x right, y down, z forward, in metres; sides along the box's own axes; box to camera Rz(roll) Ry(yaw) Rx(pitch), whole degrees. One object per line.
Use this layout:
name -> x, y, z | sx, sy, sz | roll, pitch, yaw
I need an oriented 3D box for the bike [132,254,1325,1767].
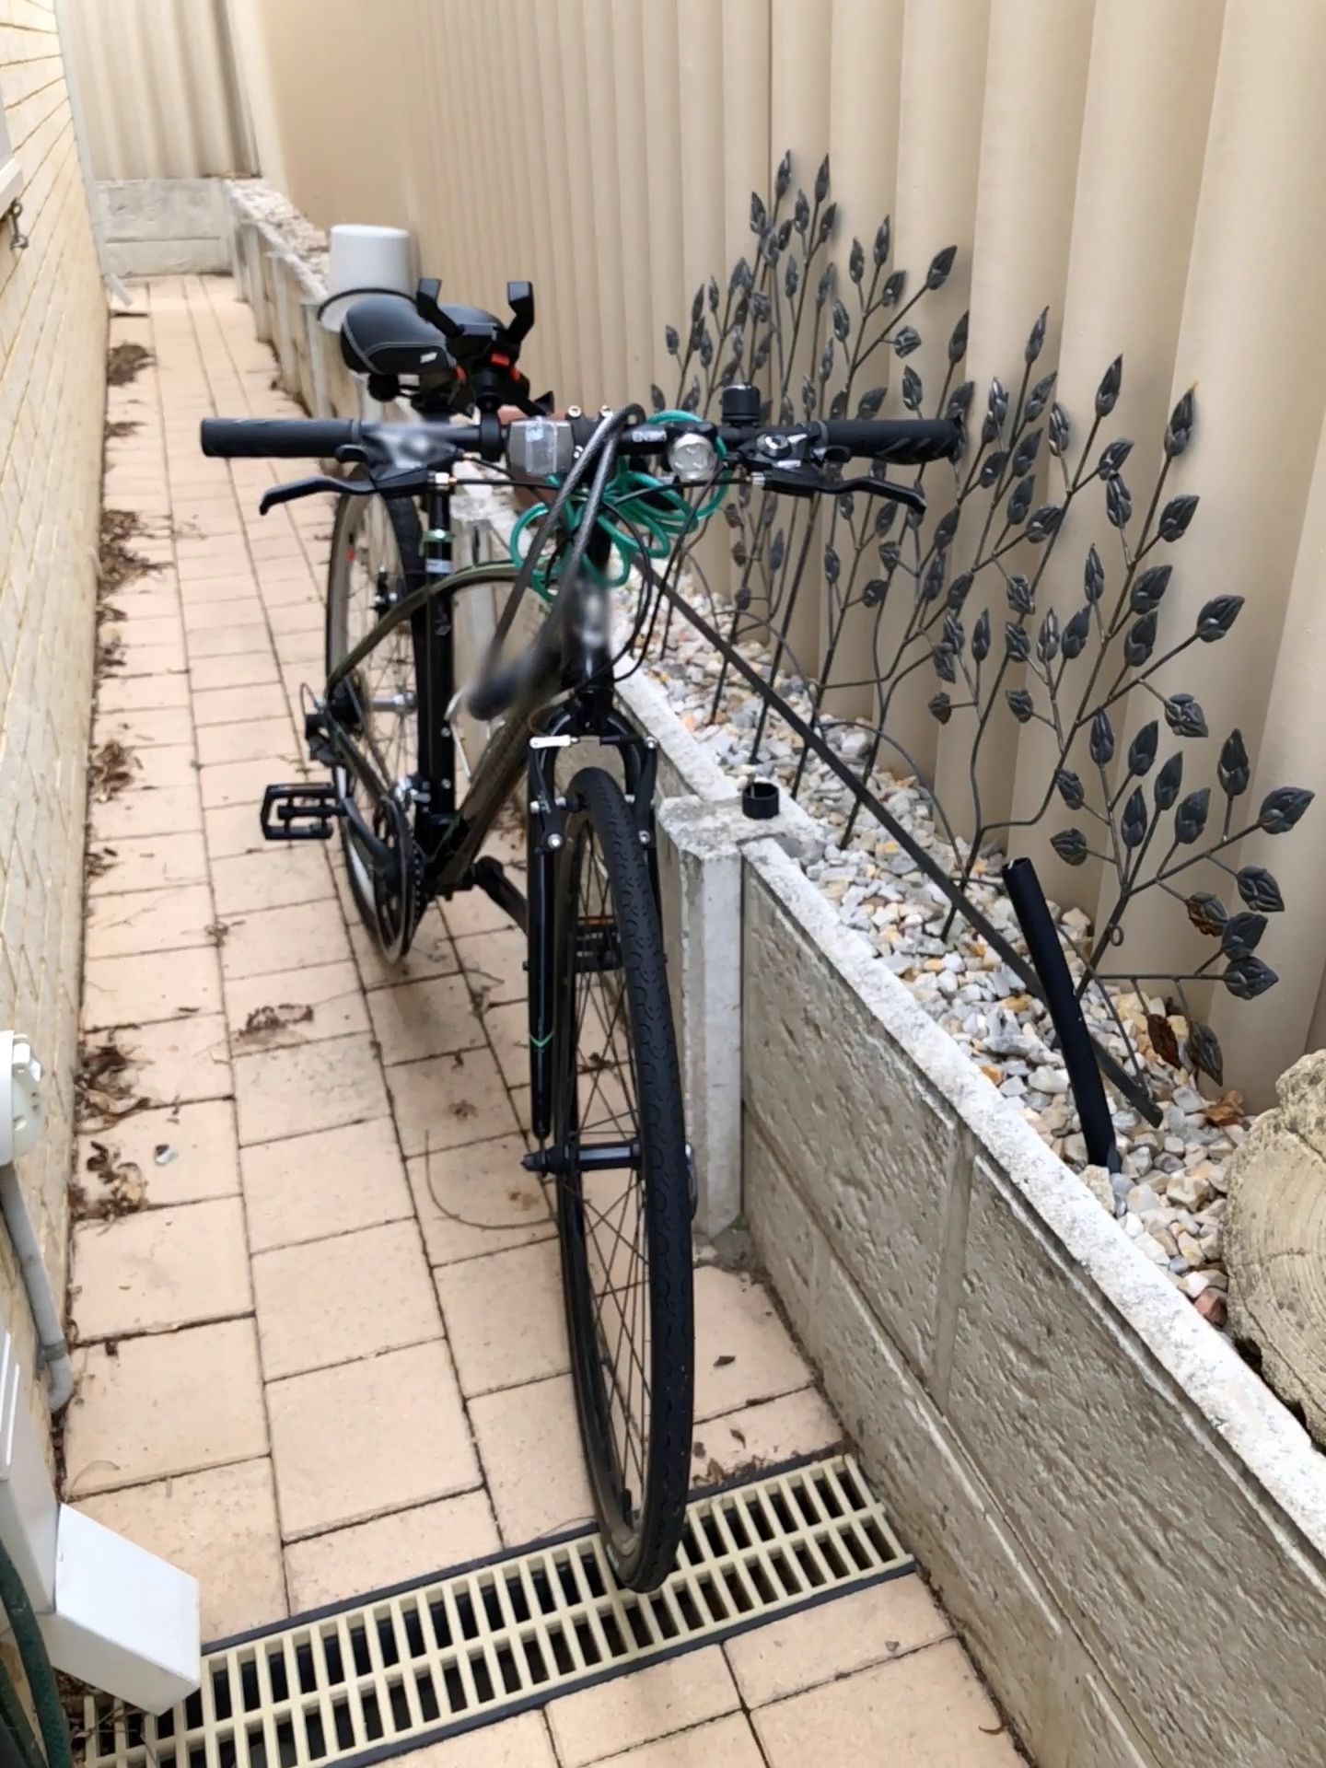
bike -> -0.173, -0.138, 1.637 | 0.638, 0.859, 1.706 | -9, 30, -16
